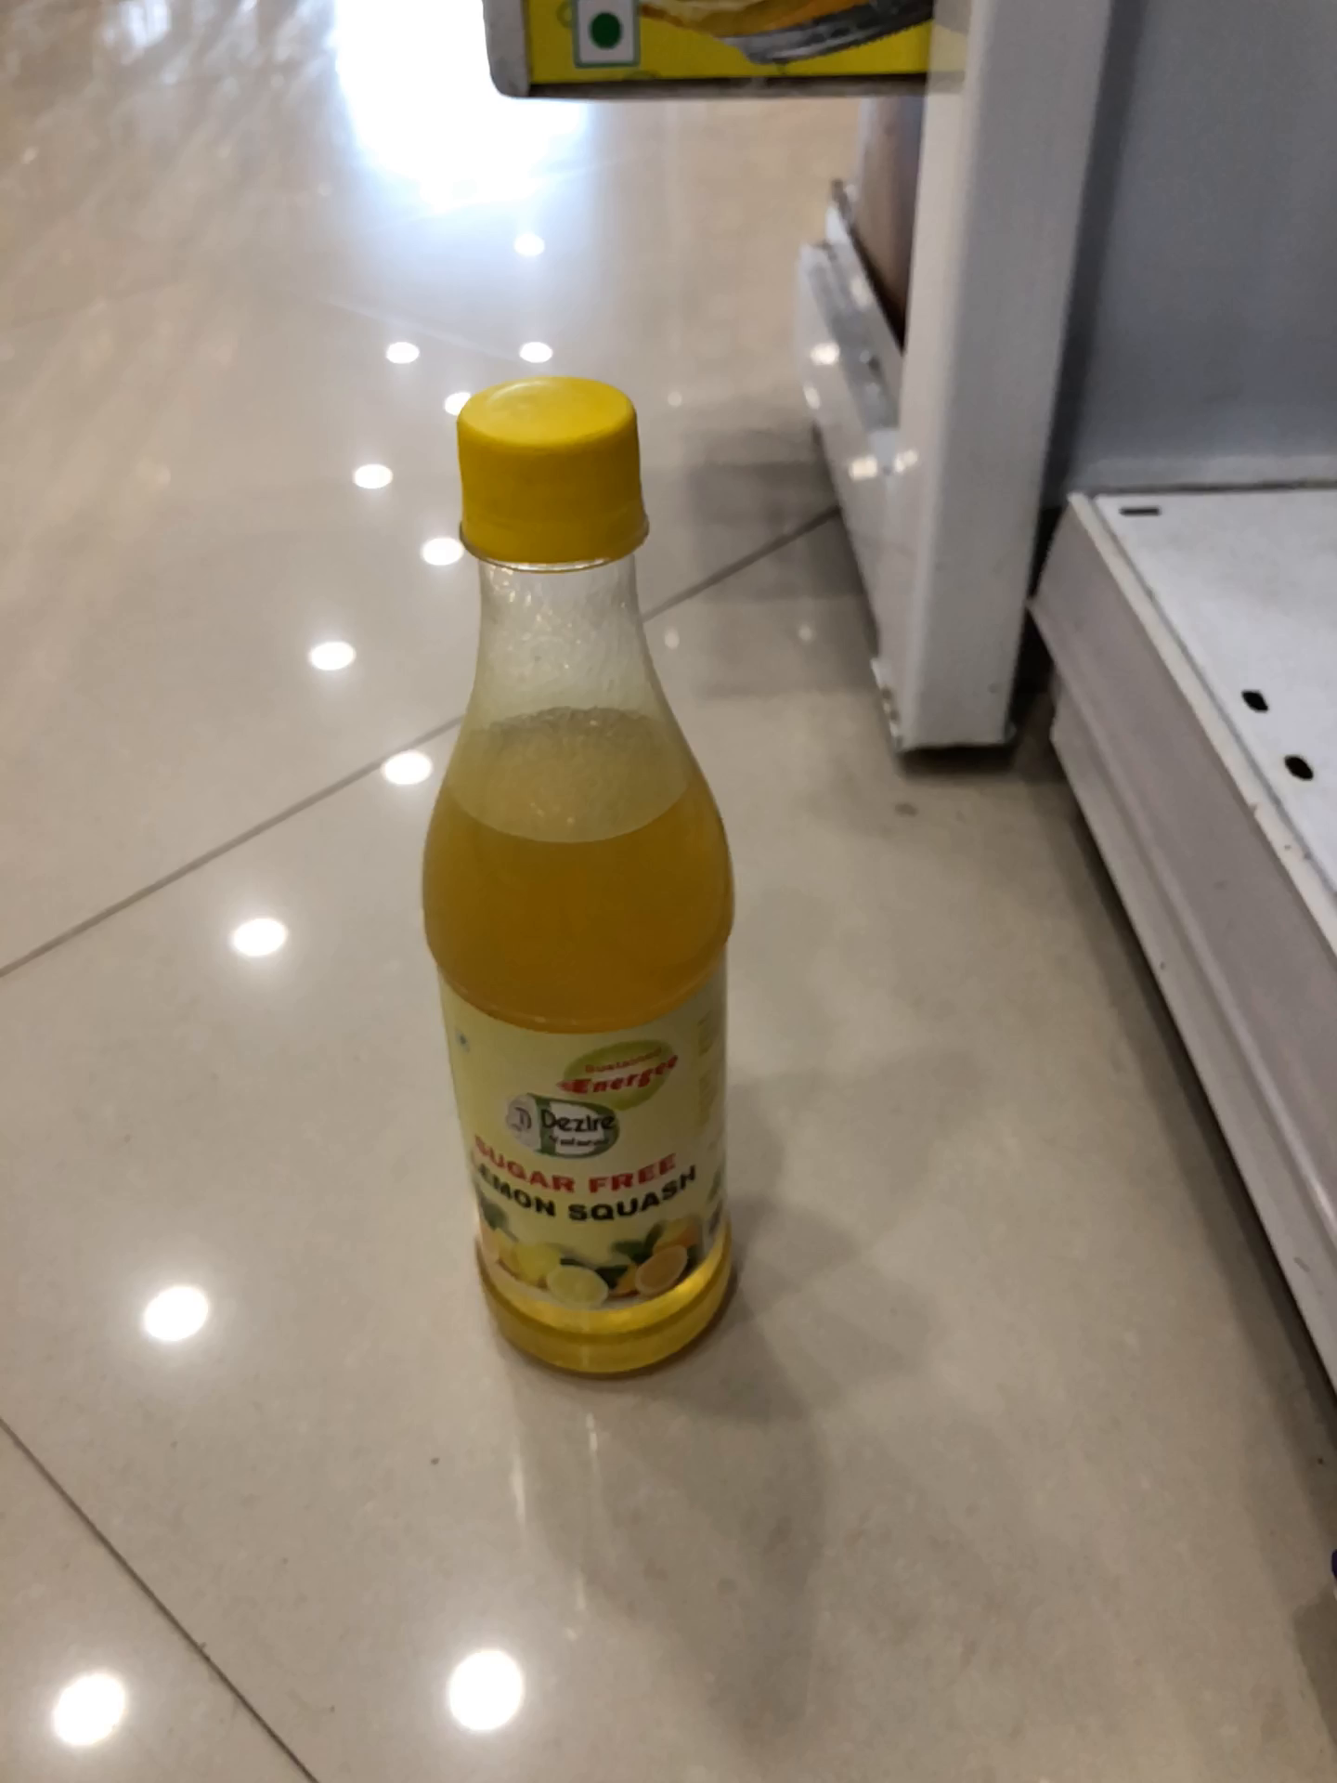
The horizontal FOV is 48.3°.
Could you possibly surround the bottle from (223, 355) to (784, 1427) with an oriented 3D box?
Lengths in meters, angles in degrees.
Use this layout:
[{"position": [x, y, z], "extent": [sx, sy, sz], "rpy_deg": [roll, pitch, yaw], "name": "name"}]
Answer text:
[{"position": [-0.022, 0.014, 0.318], "extent": [0.080, 0.228, 0.071], "rpy_deg": [4, 38, 6], "name": "bottle"}]
